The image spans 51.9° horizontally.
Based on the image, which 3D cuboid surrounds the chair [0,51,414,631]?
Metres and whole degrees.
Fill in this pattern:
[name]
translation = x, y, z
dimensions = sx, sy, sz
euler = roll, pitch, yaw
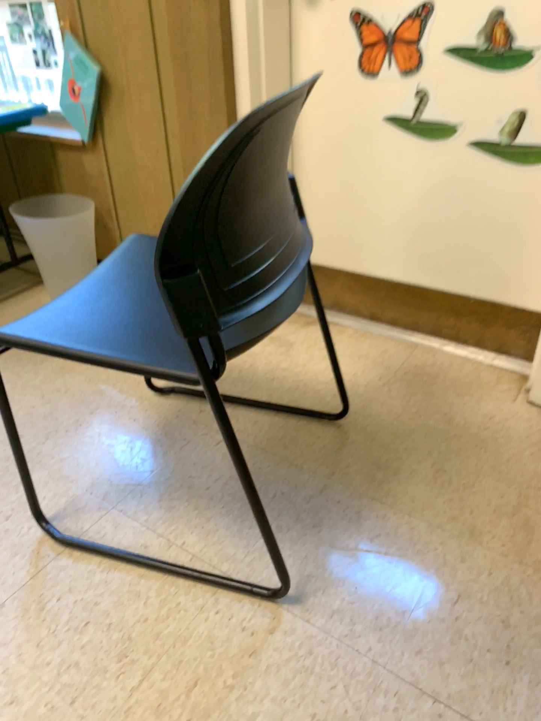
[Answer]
[chair]
translation = -0.121, -0.086, 1.021
dimensions = 0.621, 0.795, 0.583
euler = 8, 34, 16
